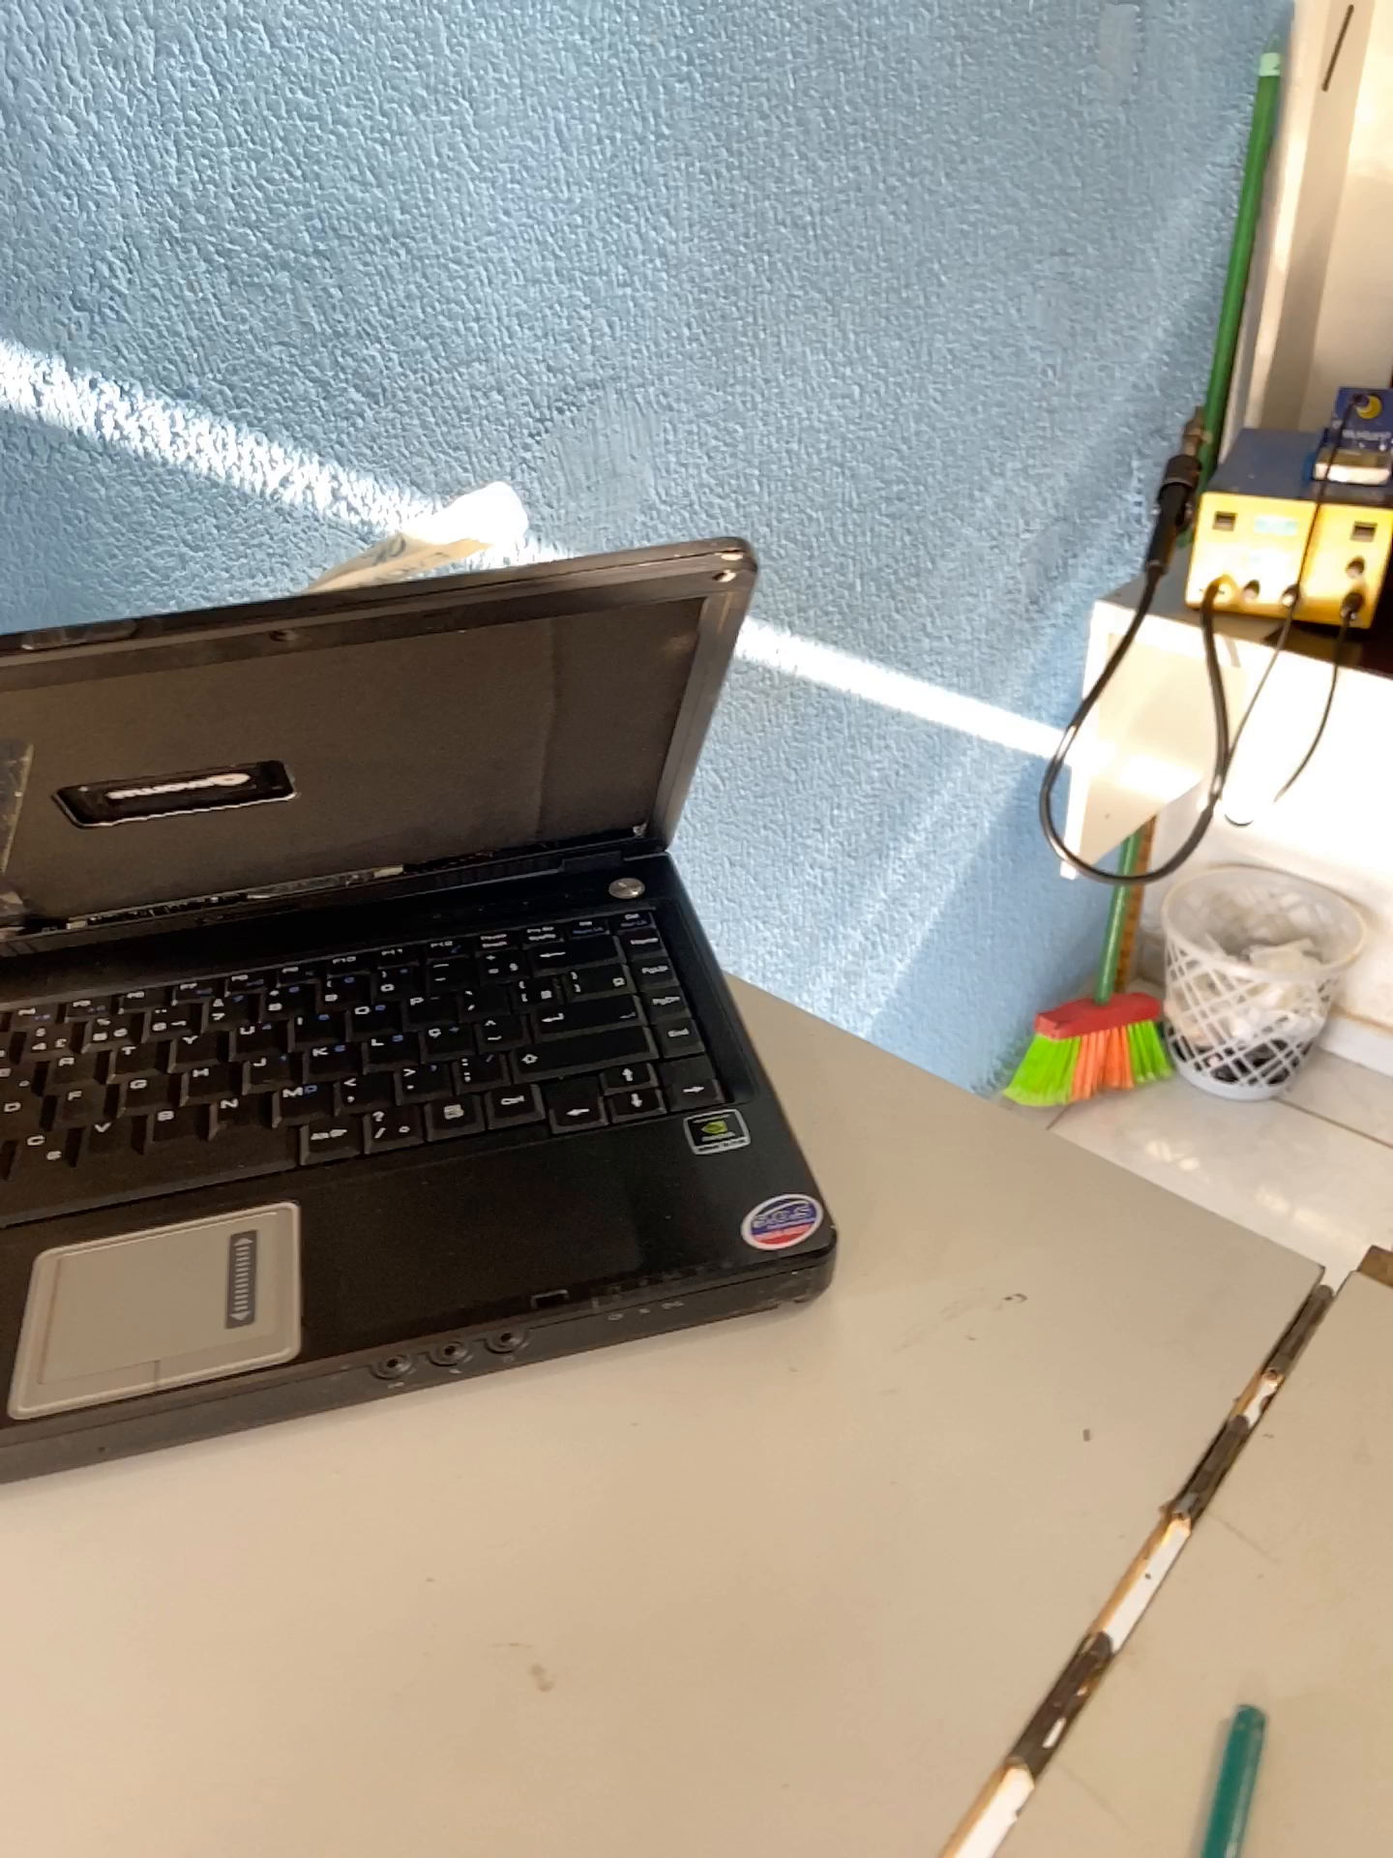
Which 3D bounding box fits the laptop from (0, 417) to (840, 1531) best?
[{"bbox_3d":[-0.151,-0.016,0.419,0.328,0.174,0.225,-10,34,-11],"label":"laptop"}]
